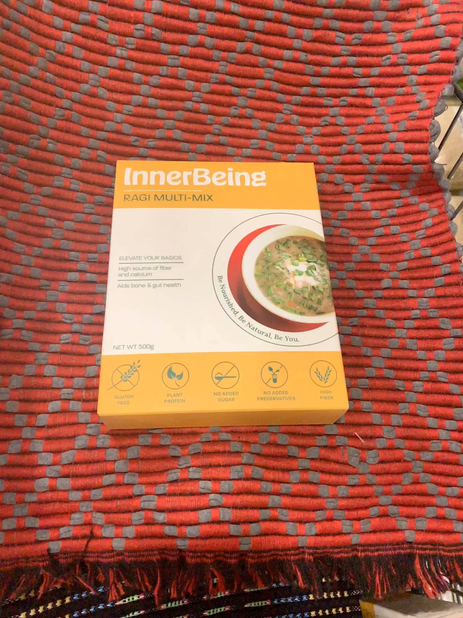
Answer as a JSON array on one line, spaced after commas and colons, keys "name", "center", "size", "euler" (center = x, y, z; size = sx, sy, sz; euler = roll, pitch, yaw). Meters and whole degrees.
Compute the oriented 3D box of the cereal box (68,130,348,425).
[{"name": "cereal box", "center": [-0.017, -0.025, 0.328], "size": [0.150, 0.070, 0.190], "euler": [0, 64, -4]}]
